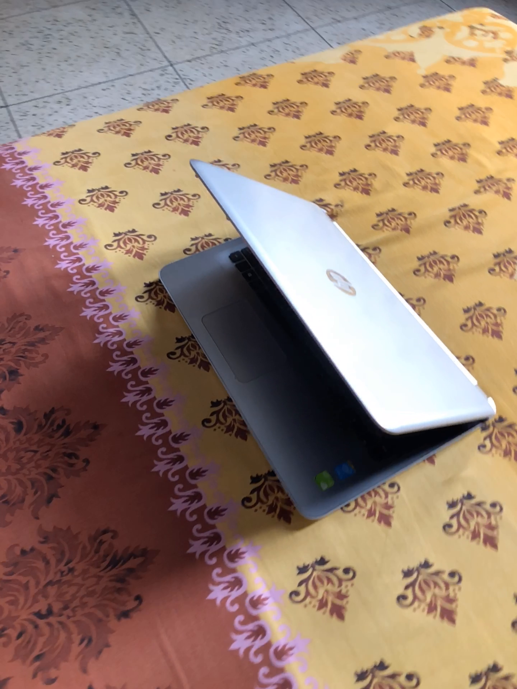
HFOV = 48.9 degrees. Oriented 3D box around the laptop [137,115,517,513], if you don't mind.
[{"bbox_3d":[0.066,-0.056,0.637,0.249,0.155,0.373,-24,60,-17],"label":"laptop"}]
